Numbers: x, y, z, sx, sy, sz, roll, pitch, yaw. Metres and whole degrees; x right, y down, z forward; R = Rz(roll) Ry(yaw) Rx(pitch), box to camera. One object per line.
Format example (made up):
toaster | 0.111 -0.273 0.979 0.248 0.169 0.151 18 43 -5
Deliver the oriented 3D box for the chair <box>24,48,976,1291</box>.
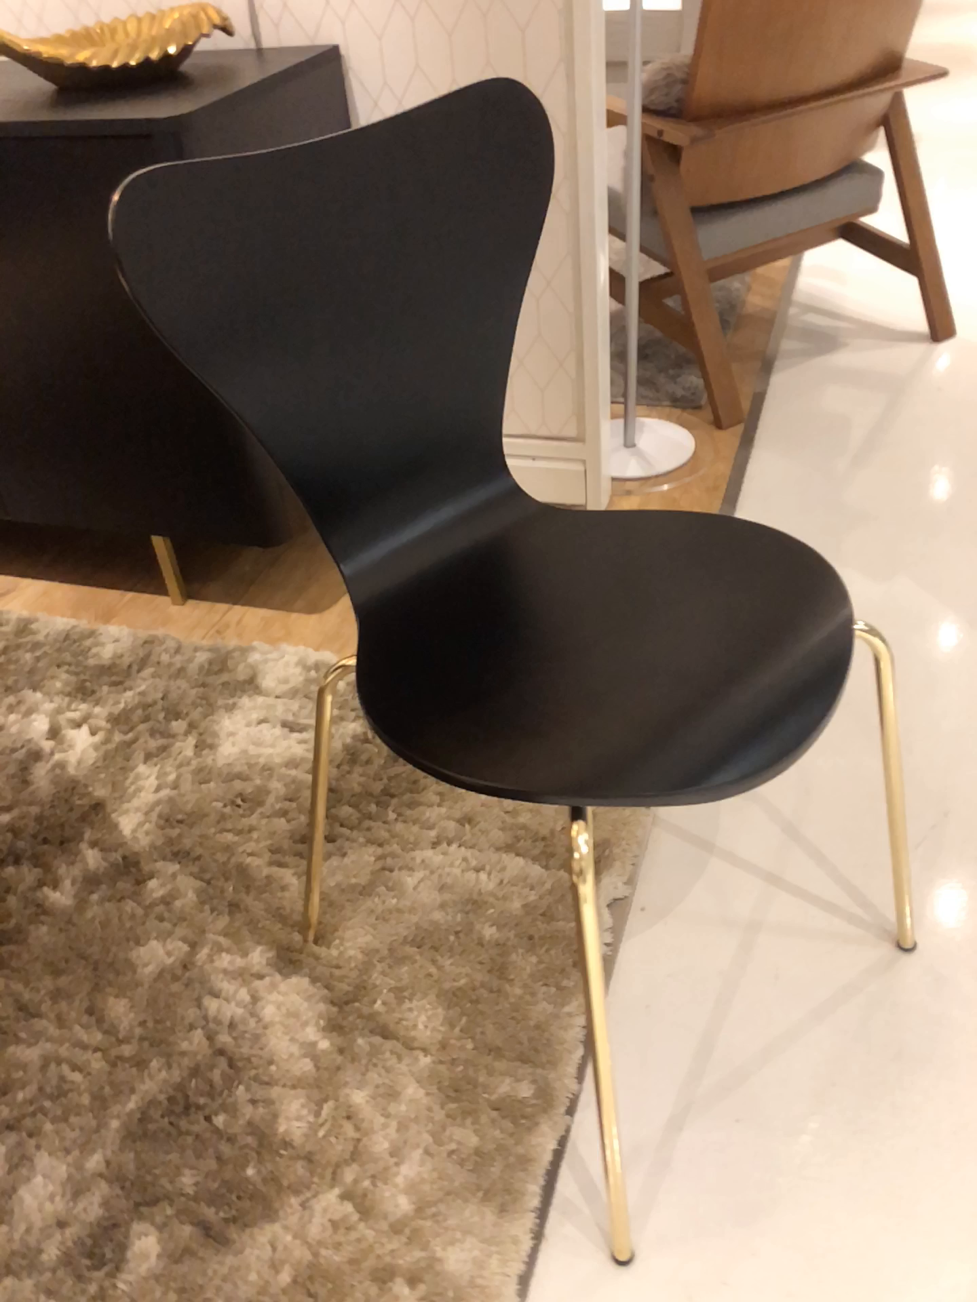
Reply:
chair | 0.082 -0.019 0.895 0.502 0.754 0.502 -32 44 -30
